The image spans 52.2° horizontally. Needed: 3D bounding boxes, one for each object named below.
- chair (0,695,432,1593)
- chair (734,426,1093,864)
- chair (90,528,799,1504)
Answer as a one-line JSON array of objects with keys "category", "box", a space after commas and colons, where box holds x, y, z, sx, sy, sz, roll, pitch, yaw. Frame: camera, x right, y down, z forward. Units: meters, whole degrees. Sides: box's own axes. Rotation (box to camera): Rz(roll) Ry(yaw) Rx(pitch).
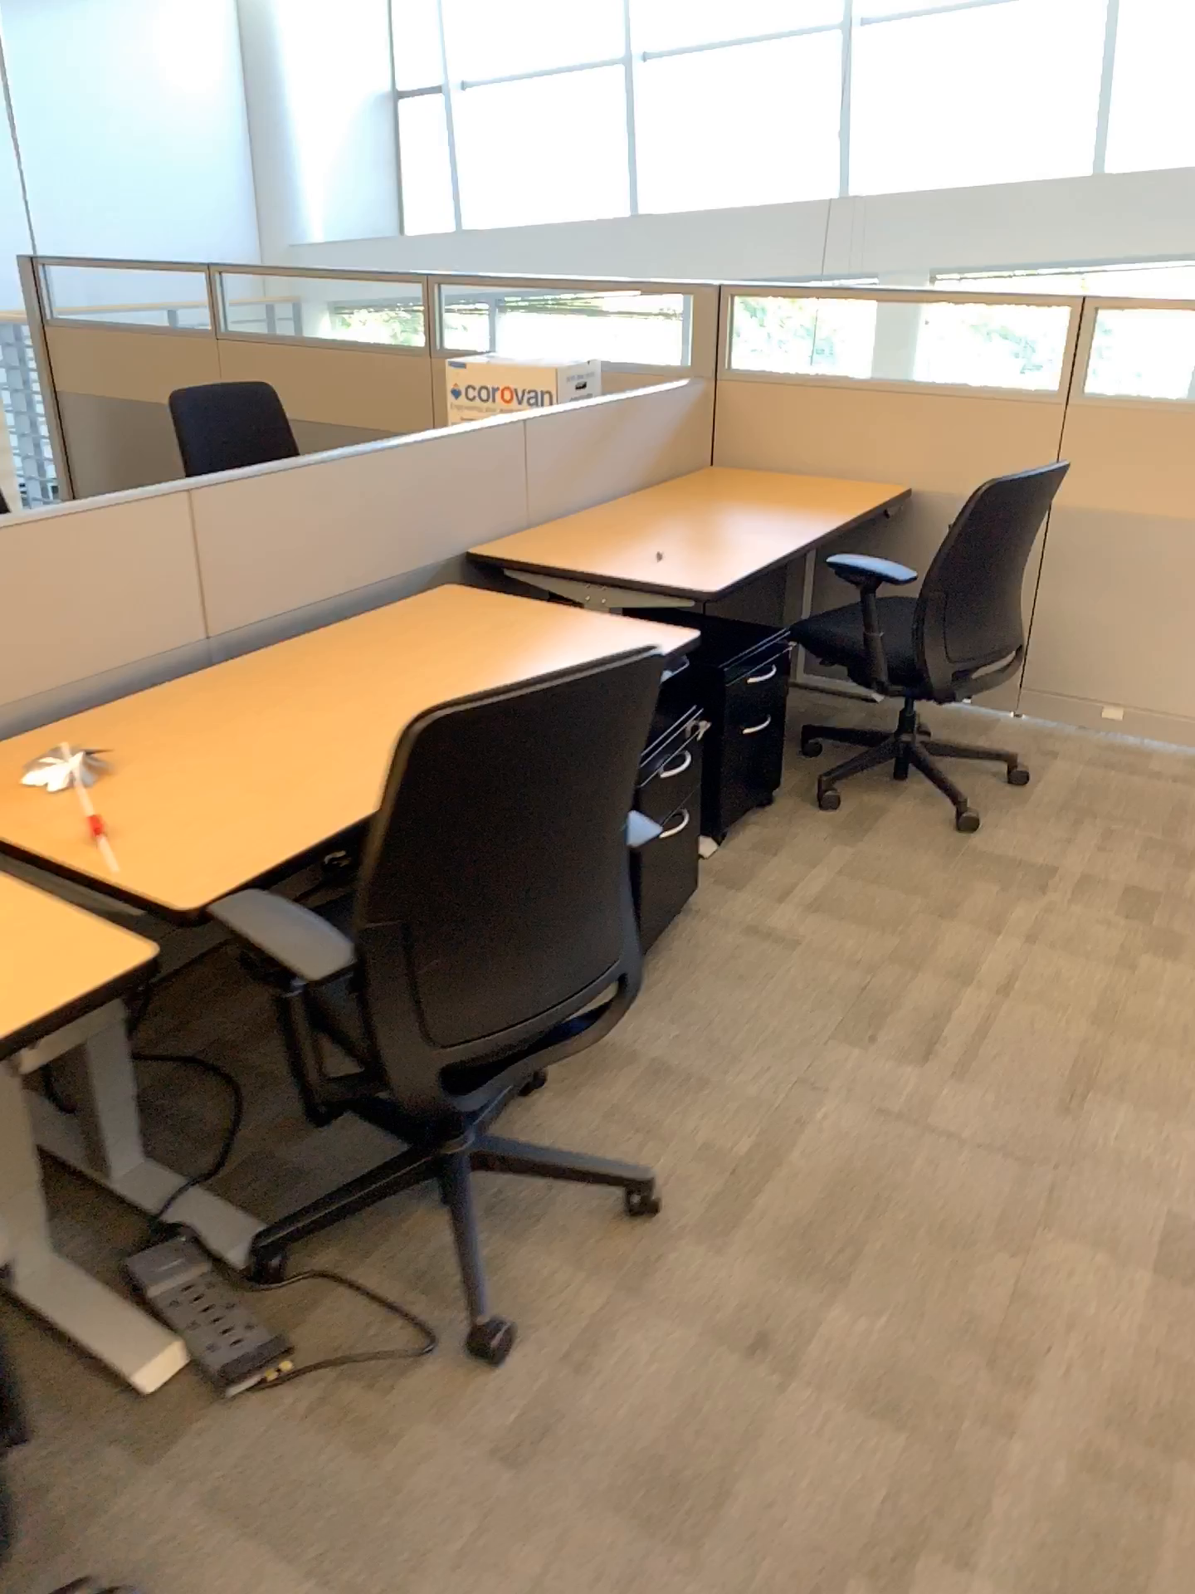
[{"category": "chair", "box": [-0.756, 0.628, 1.396, 0.762, 1.184, 0.752, 21, 31, 37]}, {"category": "chair", "box": [1.042, -0.566, 4.214, 0.751, 1.234, 0.763, -16, 29, -31]}, {"category": "chair", "box": [-0.252, 0.267, 2.006, 0.751, 1.184, 0.763, -16, 29, -31]}]
